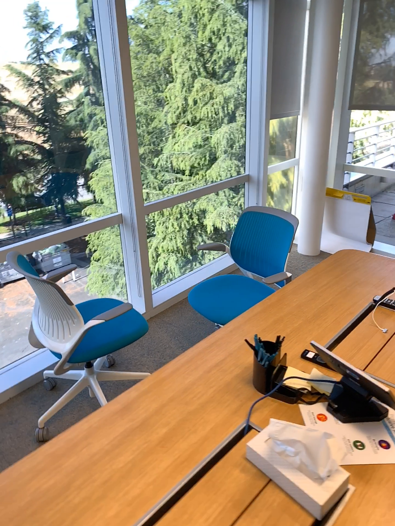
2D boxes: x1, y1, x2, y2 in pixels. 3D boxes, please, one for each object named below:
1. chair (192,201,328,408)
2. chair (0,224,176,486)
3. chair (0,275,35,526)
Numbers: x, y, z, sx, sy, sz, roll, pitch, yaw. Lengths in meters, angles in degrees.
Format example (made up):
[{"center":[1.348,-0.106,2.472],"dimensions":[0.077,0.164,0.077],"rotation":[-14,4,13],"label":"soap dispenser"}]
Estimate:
[{"center":[0.398,0.236,2.669],"dimensions":[0.631,1.094,0.542],"rotation":[-22,31,-37],"label":"chair"},{"center":[-0.597,0.422,2.147],"dimensions":[0.652,1.014,0.641],"rotation":[17,30,36],"label":"chair"},{"center":[-1.413,0.794,1.749],"dimensions":[0.872,1.134,0.732],"rotation":[11,27,26],"label":"chair"}]
